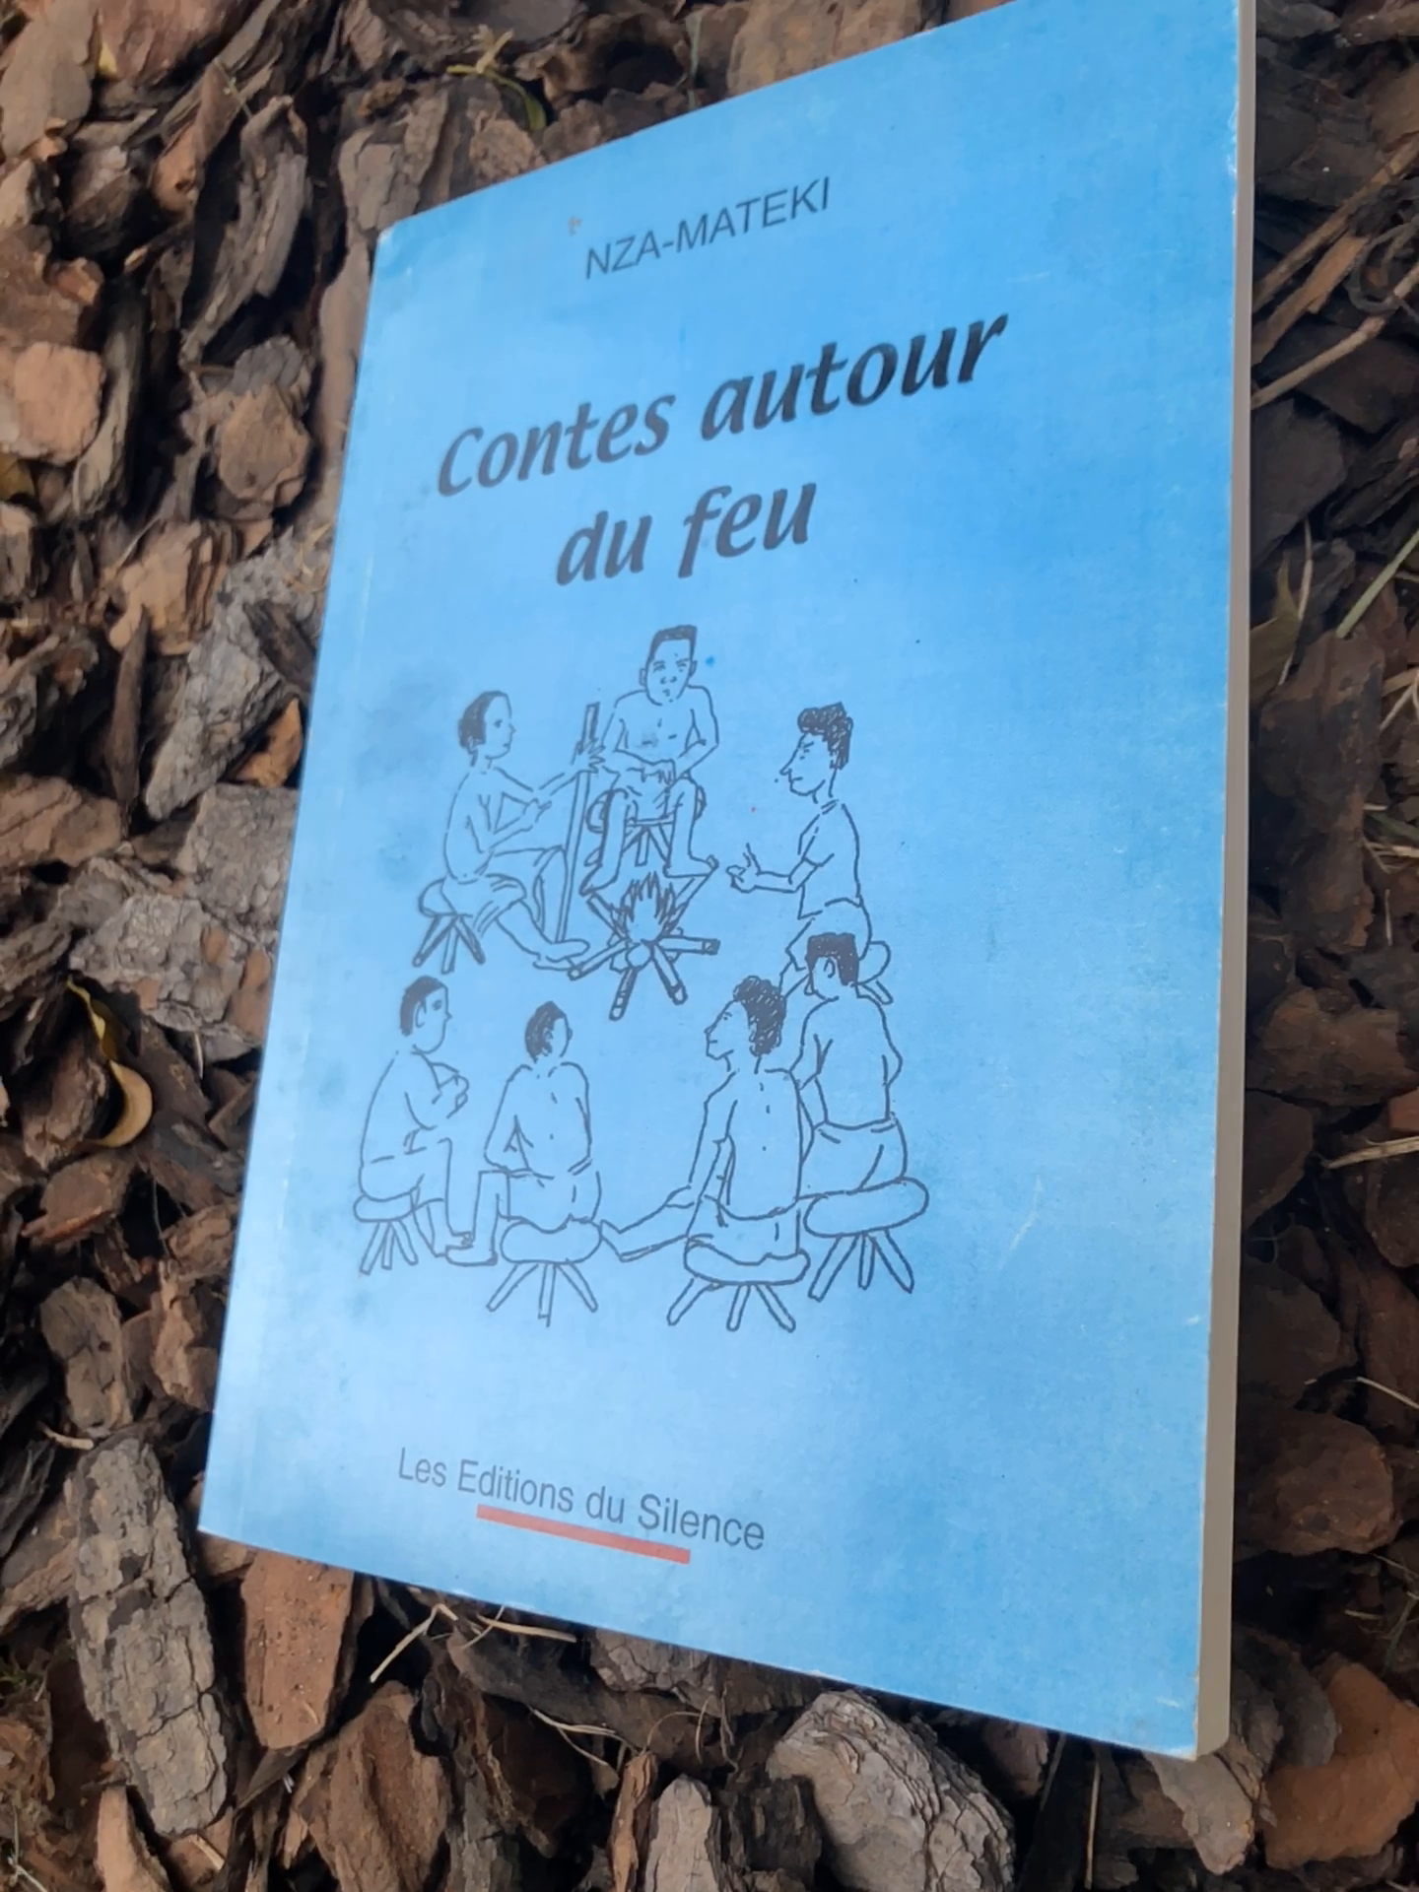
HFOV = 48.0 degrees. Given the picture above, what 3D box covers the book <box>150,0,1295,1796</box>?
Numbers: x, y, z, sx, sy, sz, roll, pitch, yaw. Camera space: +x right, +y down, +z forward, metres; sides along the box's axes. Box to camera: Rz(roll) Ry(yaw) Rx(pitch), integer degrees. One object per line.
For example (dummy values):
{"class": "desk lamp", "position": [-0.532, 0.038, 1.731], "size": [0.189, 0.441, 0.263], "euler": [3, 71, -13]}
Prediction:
{"class": "book", "position": [-0.003, -0.019, 0.206], "size": [0.144, 0.015, 0.202], "euler": [-2, 77, 32]}
